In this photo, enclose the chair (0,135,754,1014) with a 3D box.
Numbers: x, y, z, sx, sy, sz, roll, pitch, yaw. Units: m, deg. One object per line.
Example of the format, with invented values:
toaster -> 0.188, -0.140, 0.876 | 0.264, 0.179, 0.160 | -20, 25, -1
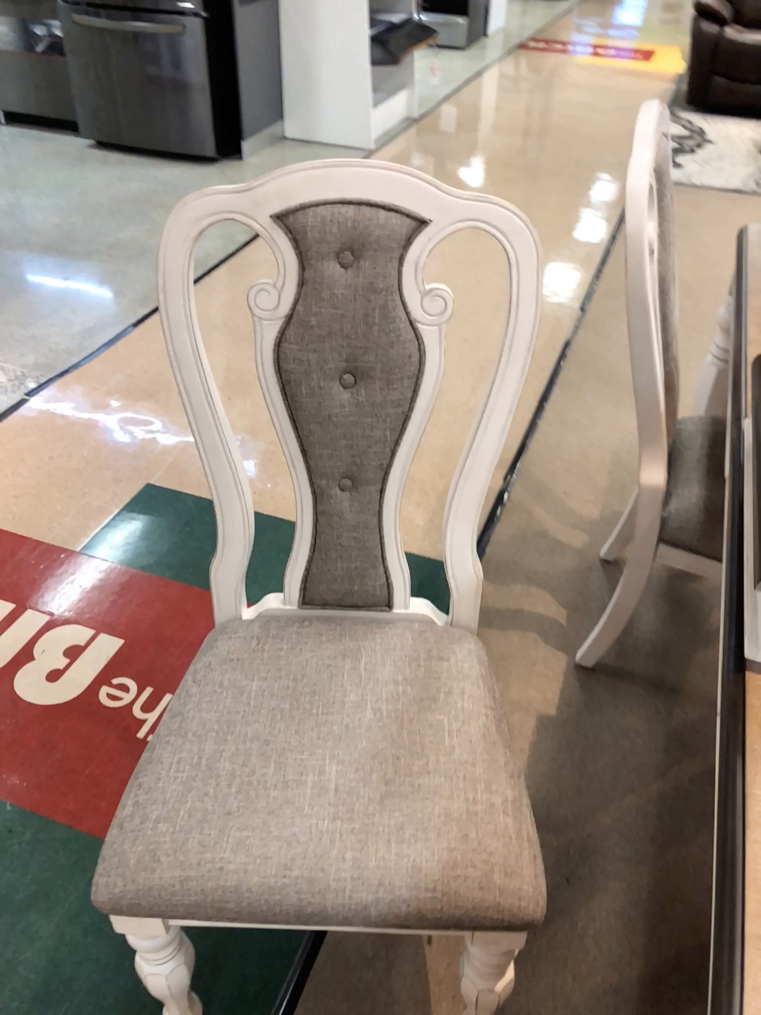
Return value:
chair -> -0.043, 0.148, 1.092 | 0.550, 1.013, 0.675 | 3, 38, 1
